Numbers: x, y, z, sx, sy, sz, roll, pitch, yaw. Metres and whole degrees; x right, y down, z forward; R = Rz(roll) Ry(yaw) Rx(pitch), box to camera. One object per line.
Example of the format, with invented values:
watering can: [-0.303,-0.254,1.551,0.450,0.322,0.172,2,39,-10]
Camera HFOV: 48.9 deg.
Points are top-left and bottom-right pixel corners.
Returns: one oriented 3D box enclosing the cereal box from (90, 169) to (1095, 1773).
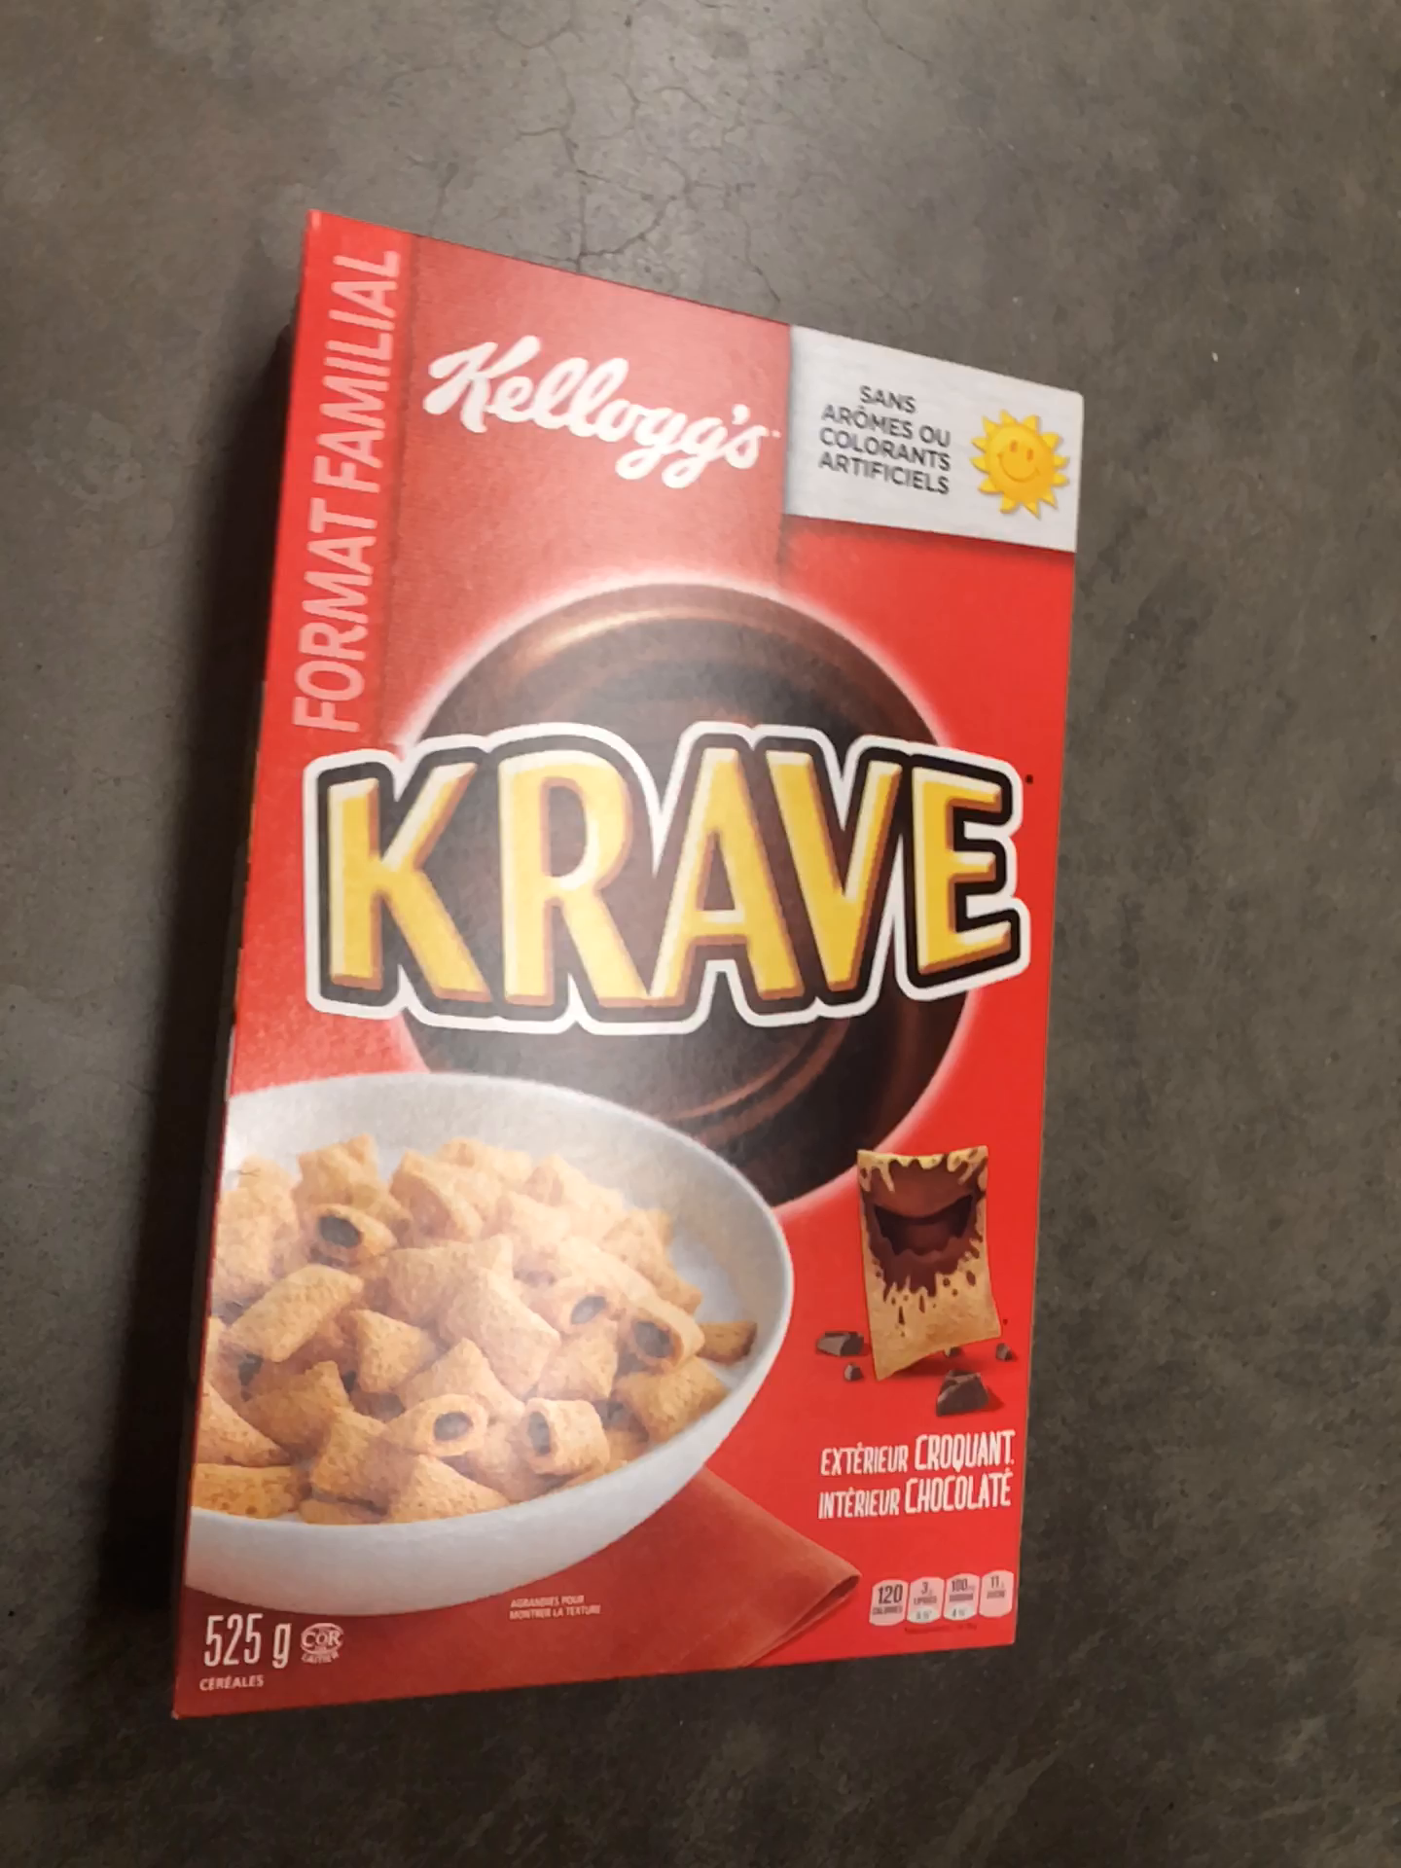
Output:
cereal box: [-0.022,0.012,0.364,0.200,0.070,0.310,5,87,-20]
